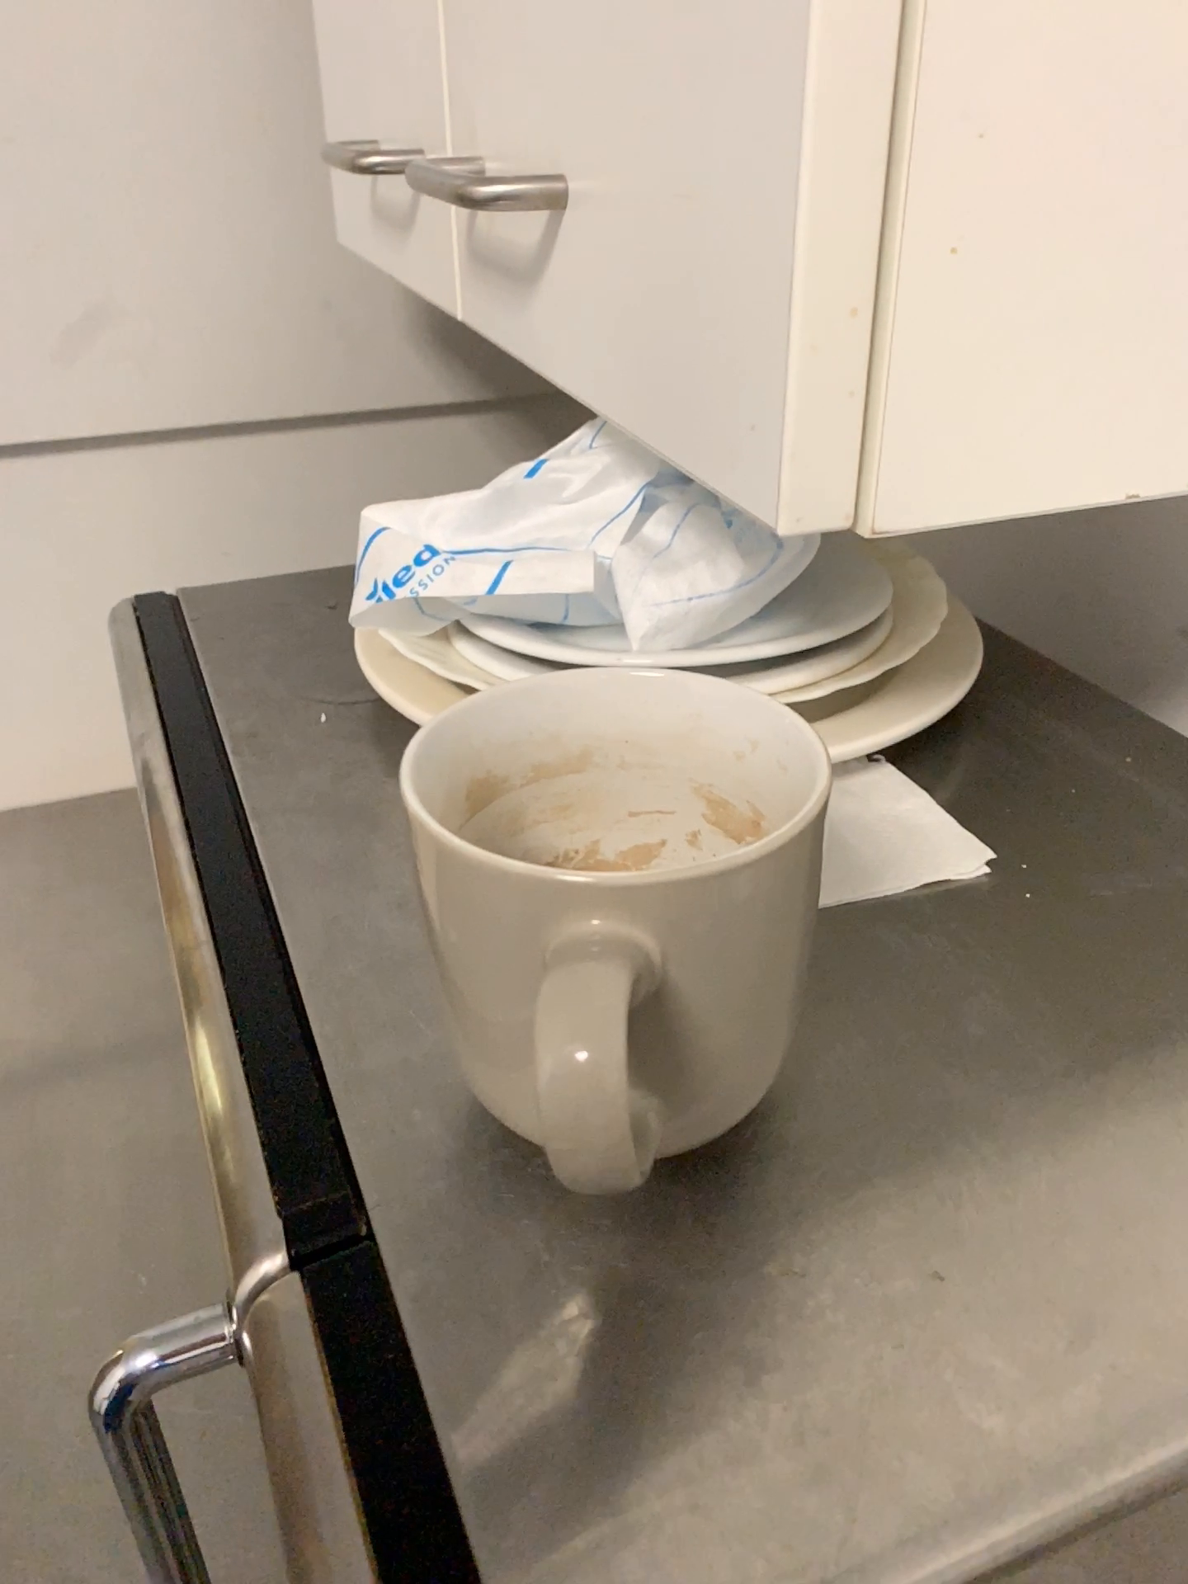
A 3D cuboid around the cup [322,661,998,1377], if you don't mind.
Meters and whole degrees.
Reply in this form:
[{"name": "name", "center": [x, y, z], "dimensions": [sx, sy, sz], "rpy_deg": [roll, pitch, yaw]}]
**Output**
[{"name": "cup", "center": [0.006, 0.036, 0.255], "dimensions": [0.101, 0.079, 0.125], "rpy_deg": [-3, 30, -3]}]
